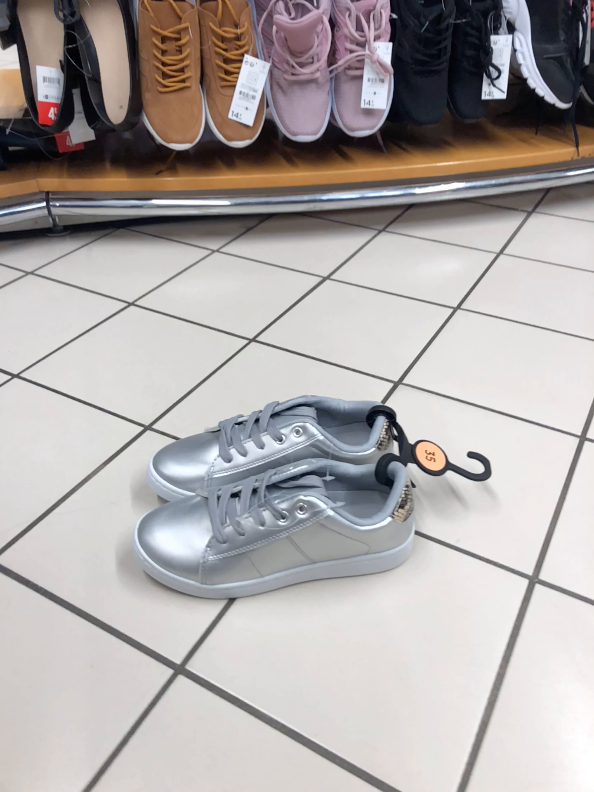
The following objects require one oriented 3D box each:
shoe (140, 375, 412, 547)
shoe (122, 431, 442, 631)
[{"bbox_3d":[-0.022,0.057,0.605,0.230,0.089,0.090,-7,37,-9],"label":"shoe"},{"bbox_3d":[-0.014,0.105,0.526,0.230,0.089,0.090,-6,36,-7],"label":"shoe"}]
